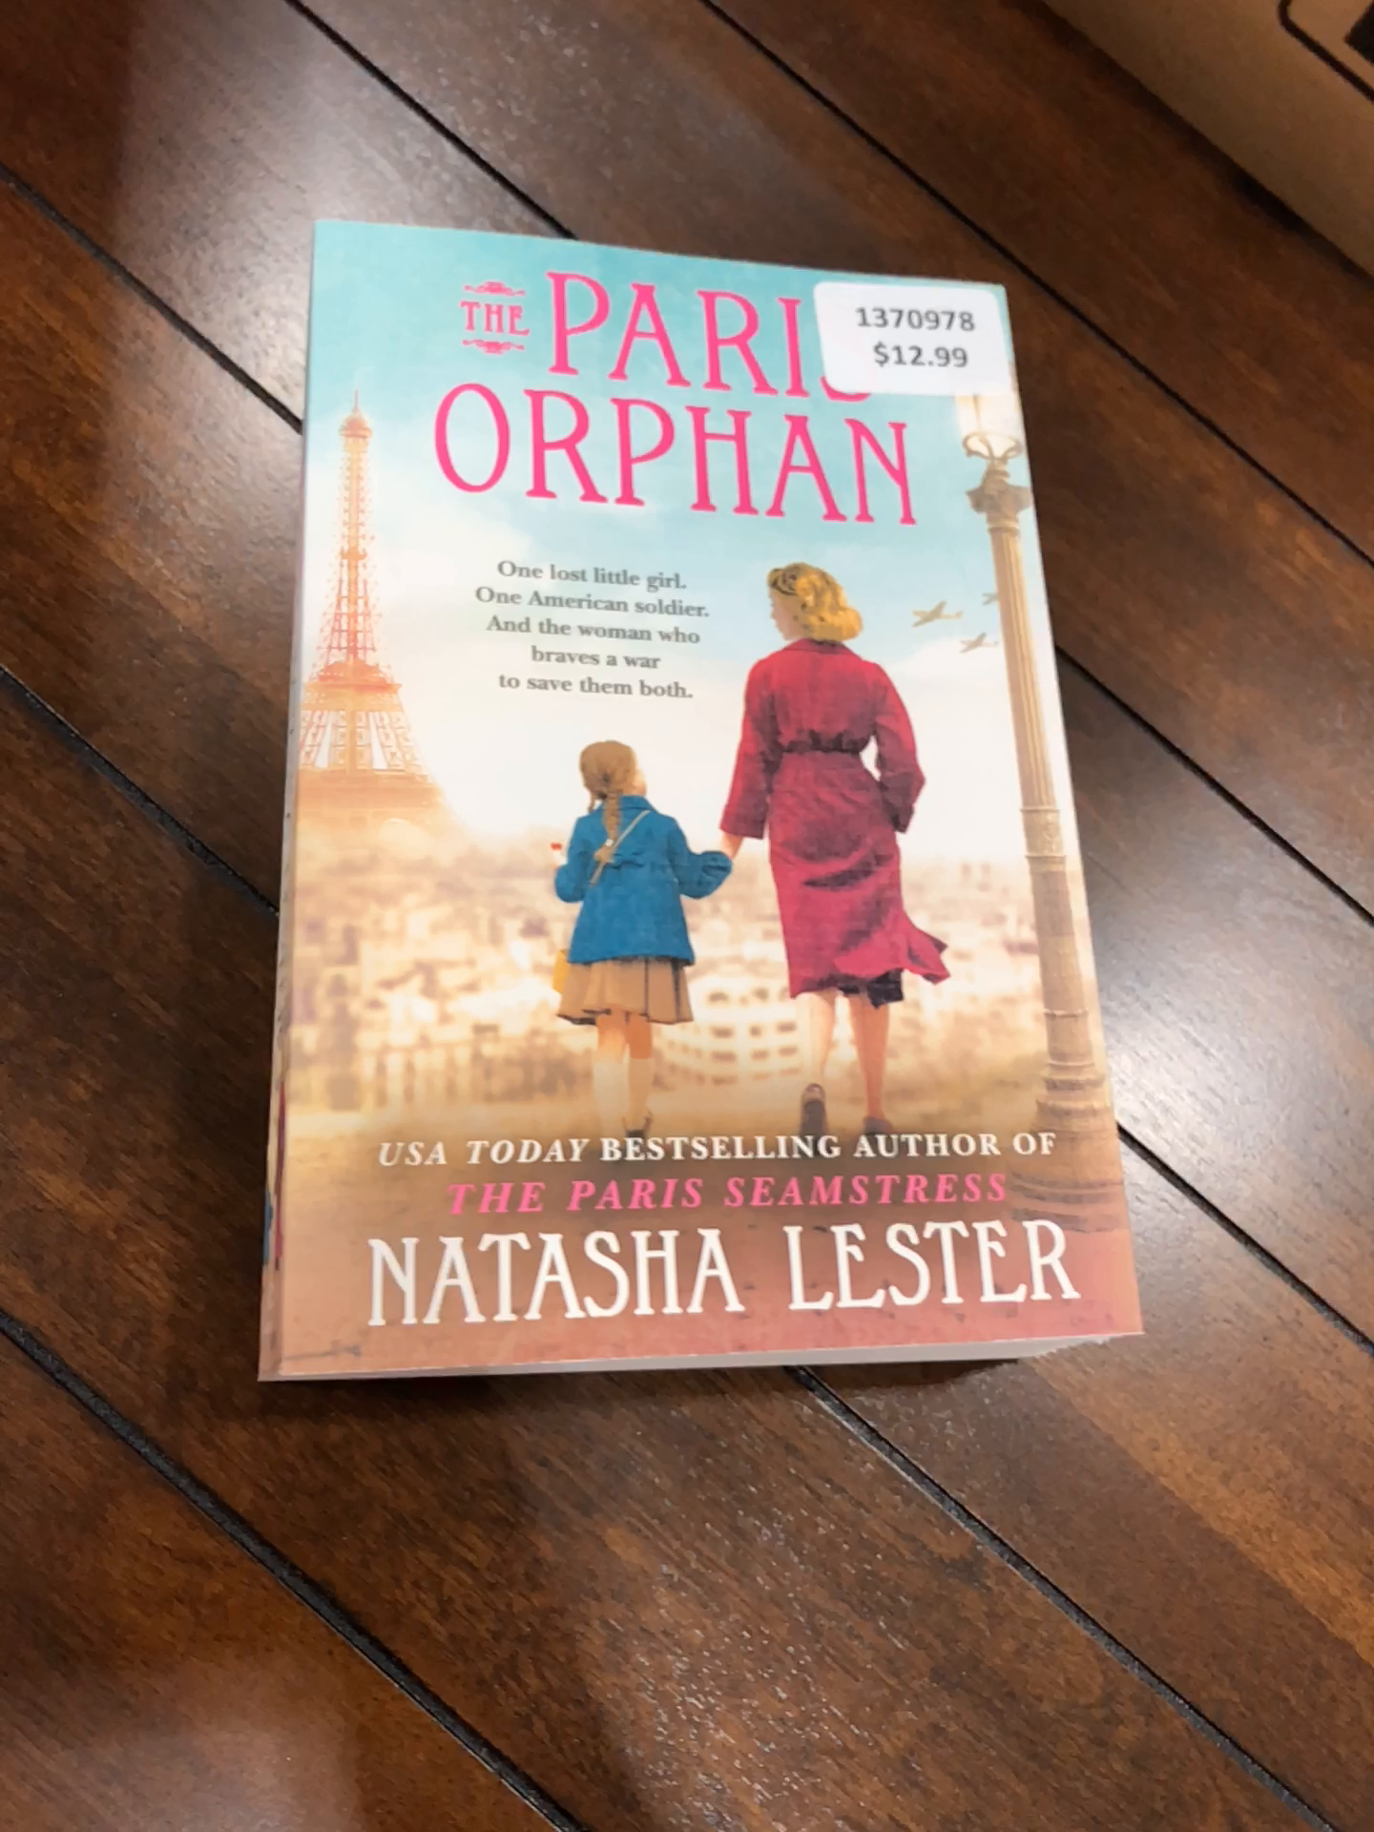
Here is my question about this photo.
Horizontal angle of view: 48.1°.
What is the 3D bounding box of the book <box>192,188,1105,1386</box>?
[{"bbox_3d":[-0.007,-0.024,0.268,0.134,0.035,0.198,2,73,-11],"label":"book"}]
